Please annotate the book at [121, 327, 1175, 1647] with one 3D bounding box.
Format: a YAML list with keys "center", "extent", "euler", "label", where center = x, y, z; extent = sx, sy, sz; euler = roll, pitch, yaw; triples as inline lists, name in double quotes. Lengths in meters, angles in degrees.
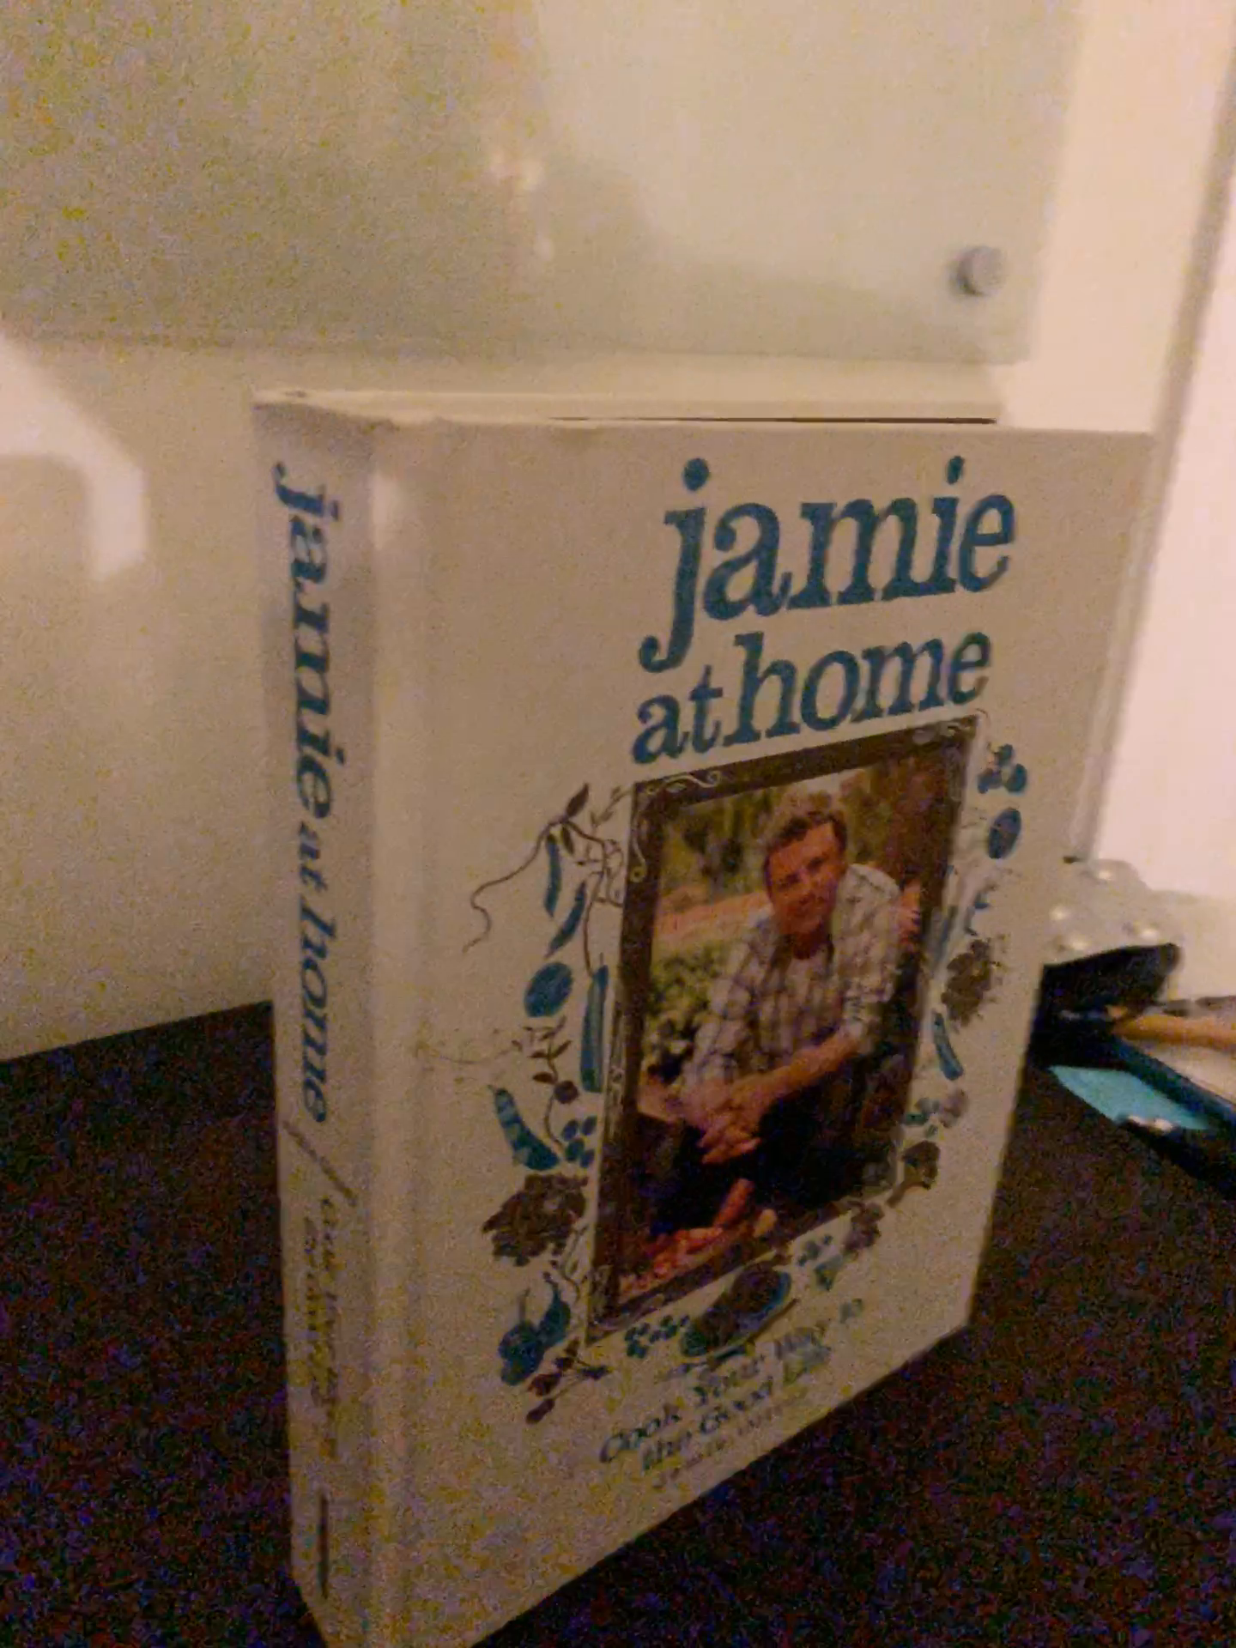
- center: [0.015, 0.038, 0.287]
  extent: [0.210, 0.269, 0.050]
  euler: [-13, 27, -35]
  label: "book"
